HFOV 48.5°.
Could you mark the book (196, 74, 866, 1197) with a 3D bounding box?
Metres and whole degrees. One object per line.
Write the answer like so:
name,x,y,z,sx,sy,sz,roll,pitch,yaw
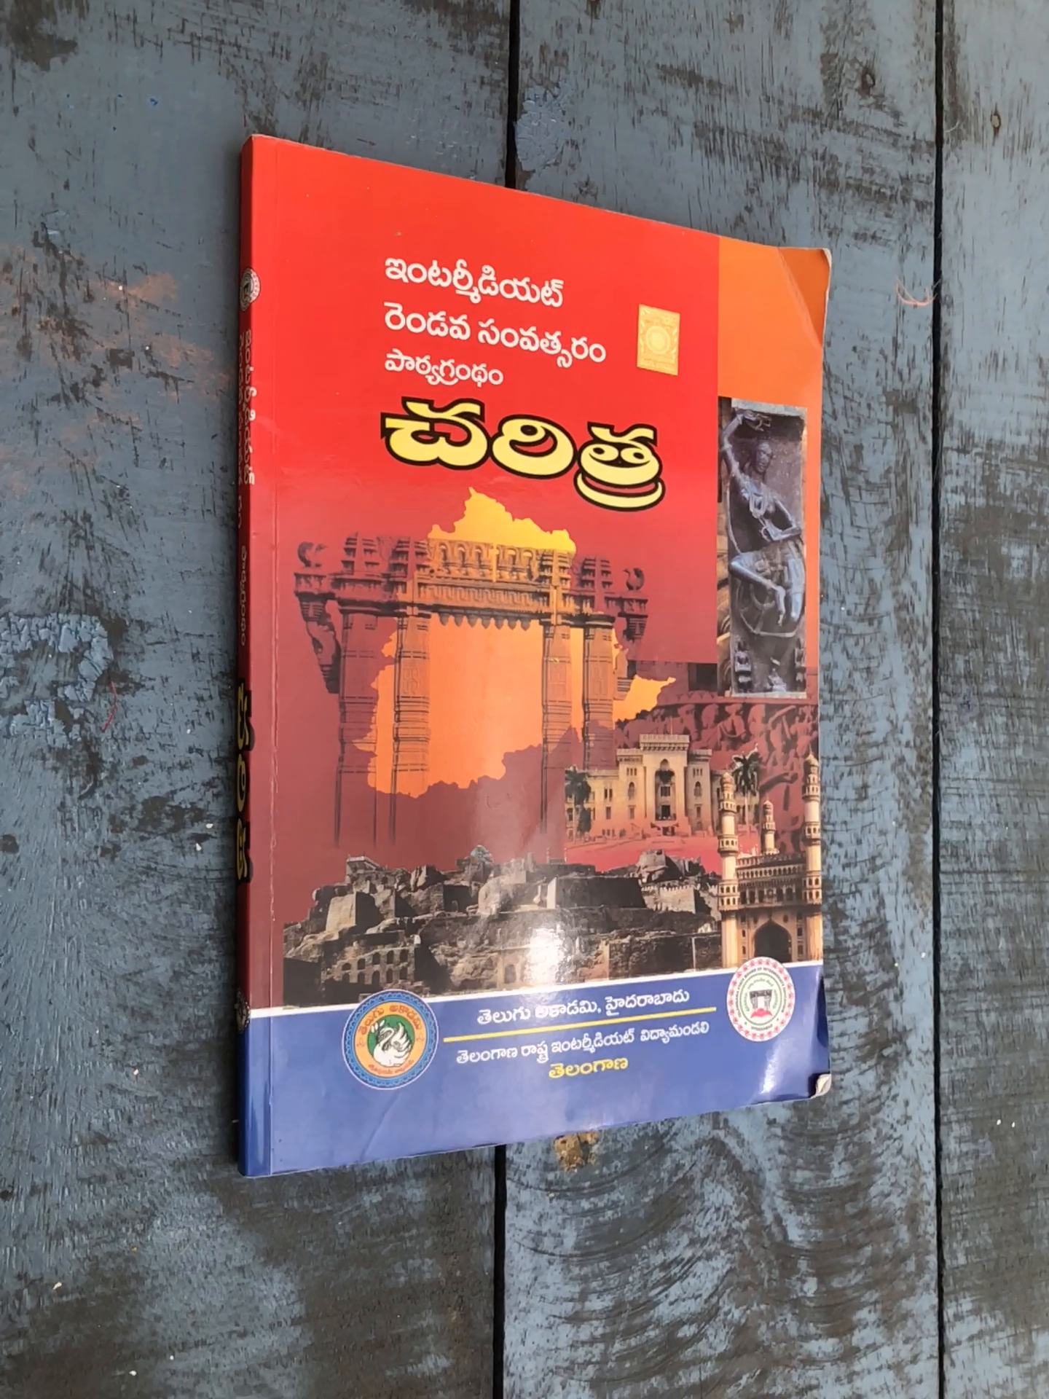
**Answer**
book,0.008,-0.016,0.337,0.191,0.040,0.270,2,86,-25
